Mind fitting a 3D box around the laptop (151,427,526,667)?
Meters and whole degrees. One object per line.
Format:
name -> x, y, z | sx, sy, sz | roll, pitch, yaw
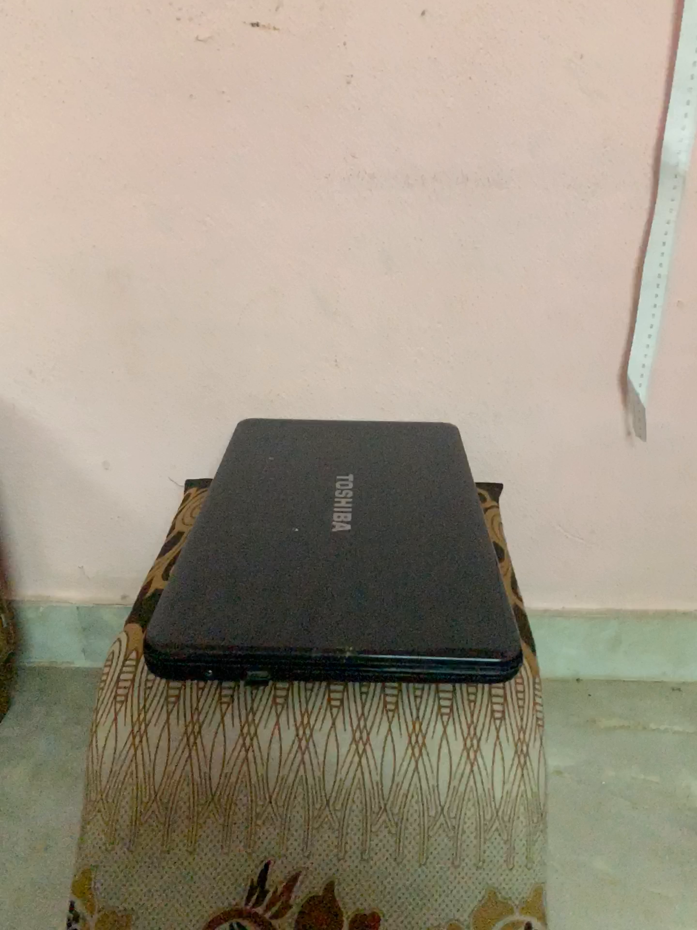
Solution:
laptop -> -0.006, 0.039, 0.590 | 0.222, 0.001, 0.372 | 0, 25, 1
